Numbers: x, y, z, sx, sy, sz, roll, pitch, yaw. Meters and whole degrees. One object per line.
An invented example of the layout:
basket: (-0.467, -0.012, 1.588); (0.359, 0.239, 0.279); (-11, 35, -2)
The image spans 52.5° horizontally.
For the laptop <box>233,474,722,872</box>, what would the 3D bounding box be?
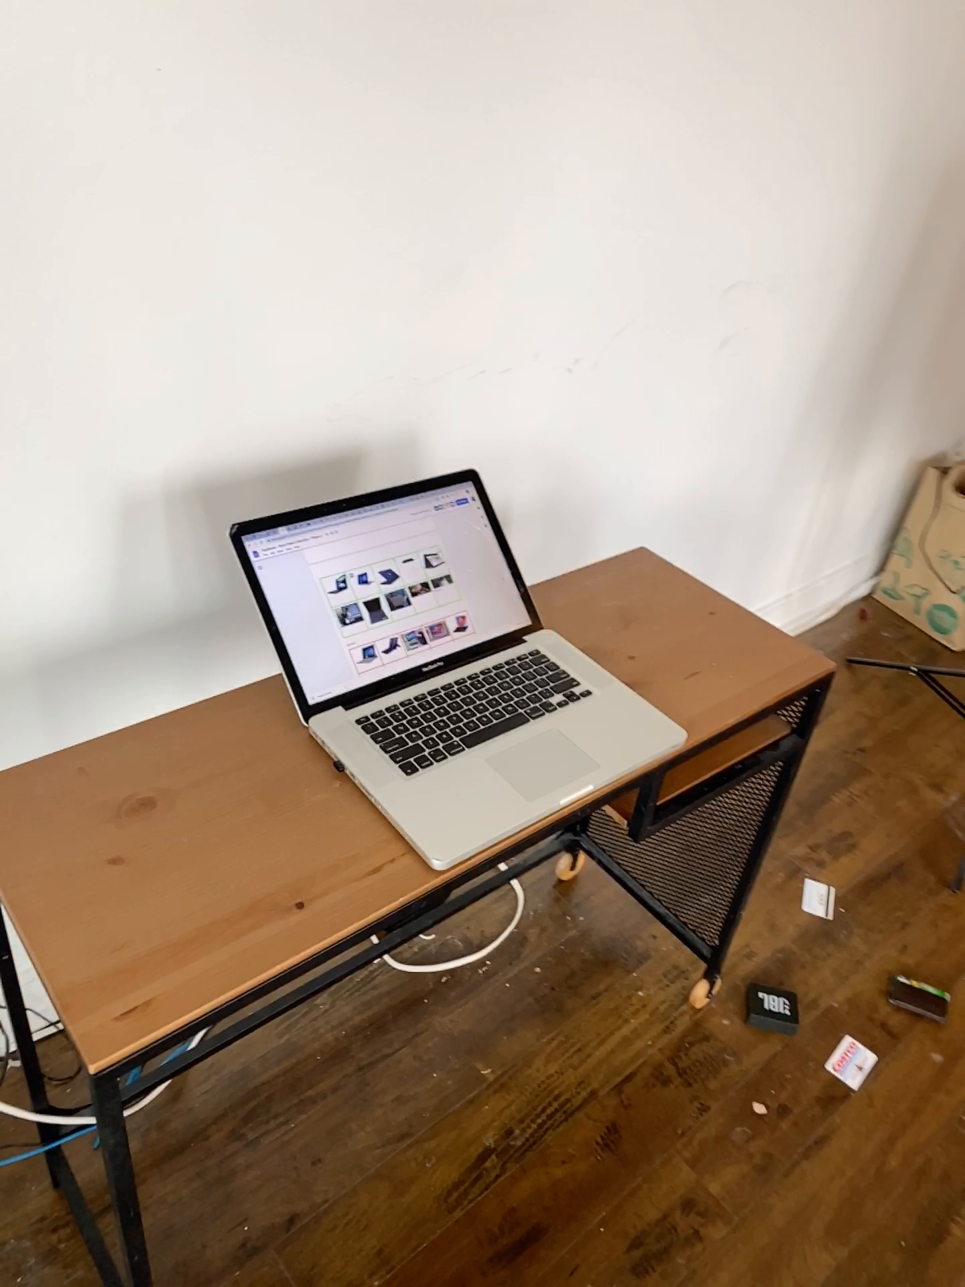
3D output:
laptop: (-0.021, -0.004, 1.137); (0.360, 0.155, 0.437); (-20, 43, -34)
